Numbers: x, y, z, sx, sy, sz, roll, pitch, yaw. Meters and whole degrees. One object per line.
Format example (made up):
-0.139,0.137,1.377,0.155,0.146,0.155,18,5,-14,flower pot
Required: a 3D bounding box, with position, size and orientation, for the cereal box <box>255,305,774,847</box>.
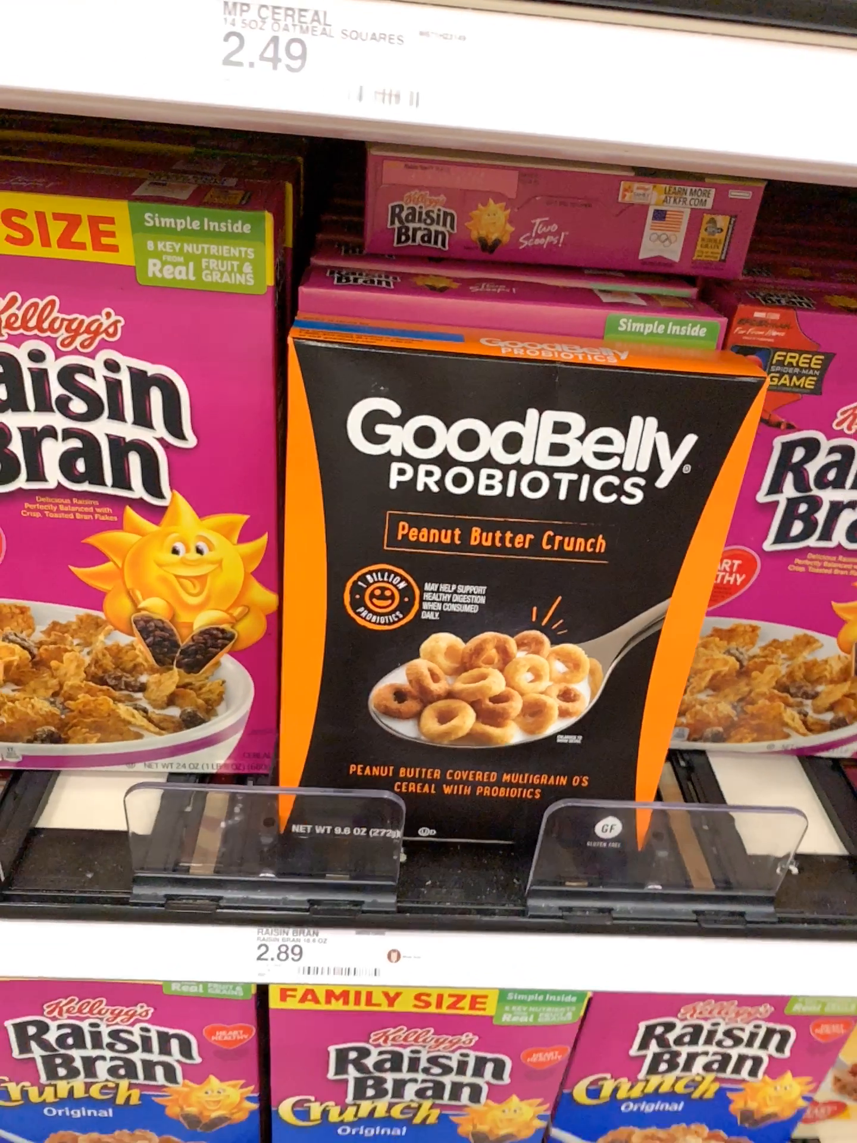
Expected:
0.023,0.015,0.414,0.200,0.249,0.050,3,27,-5,cereal box
